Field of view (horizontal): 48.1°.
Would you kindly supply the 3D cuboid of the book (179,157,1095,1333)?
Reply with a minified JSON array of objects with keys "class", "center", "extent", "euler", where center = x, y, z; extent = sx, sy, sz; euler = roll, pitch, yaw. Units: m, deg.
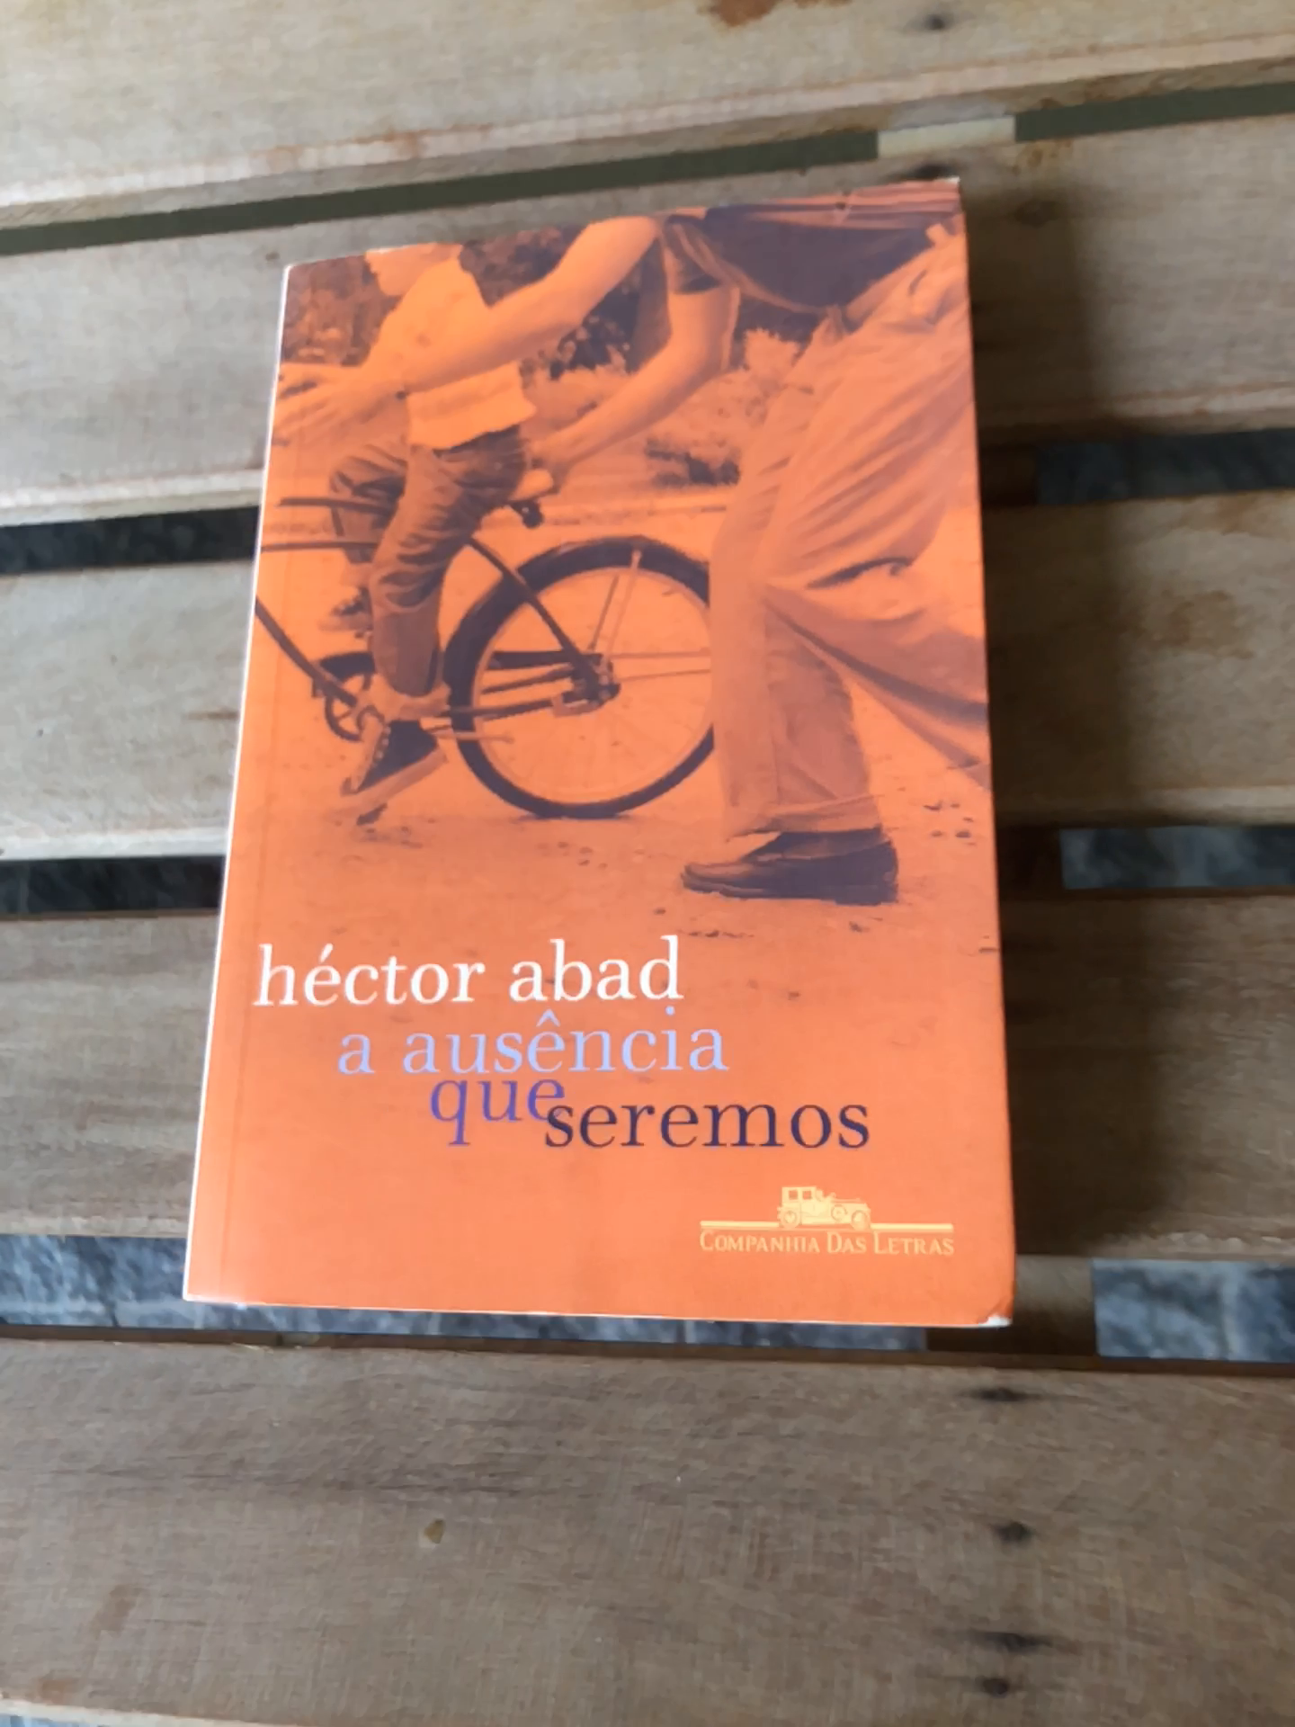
[{"class":"book","center":[-0.002,-0.025,0.257],"extent":[0.142,0.020,0.200],"euler":[-2,74,12]}]
